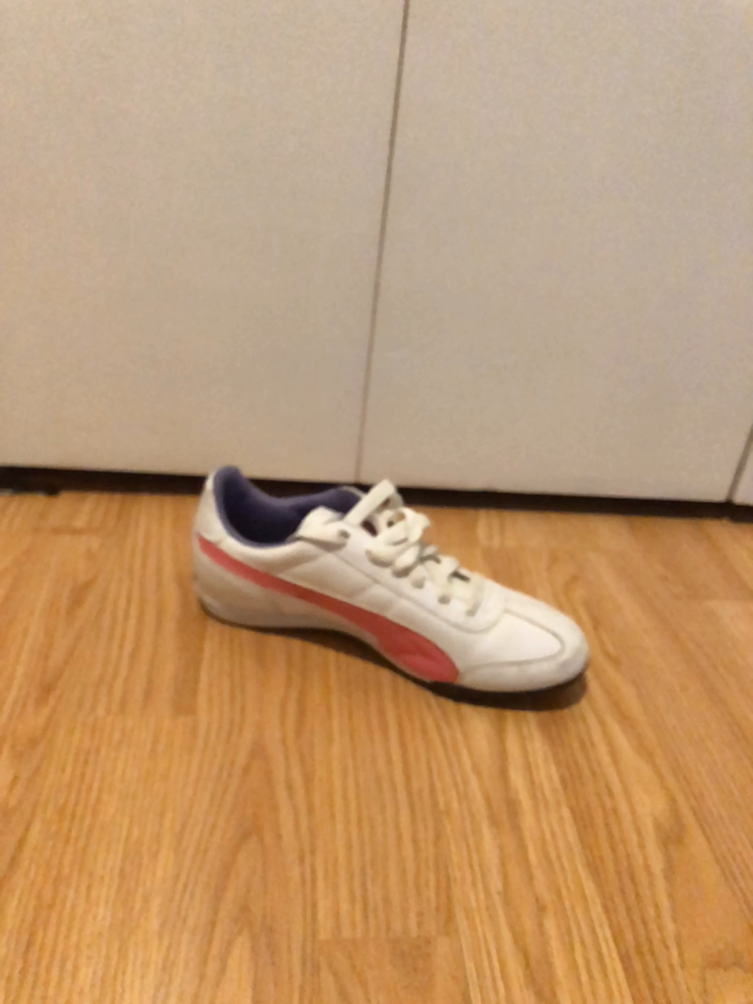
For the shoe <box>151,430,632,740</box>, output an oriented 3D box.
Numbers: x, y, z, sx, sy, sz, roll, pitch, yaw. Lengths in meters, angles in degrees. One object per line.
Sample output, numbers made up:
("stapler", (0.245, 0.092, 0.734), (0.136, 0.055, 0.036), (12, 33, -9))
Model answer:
("shoe", (0.009, 0.041, 0.508), (0.260, 0.080, 0.100), (14, 30, 12))
